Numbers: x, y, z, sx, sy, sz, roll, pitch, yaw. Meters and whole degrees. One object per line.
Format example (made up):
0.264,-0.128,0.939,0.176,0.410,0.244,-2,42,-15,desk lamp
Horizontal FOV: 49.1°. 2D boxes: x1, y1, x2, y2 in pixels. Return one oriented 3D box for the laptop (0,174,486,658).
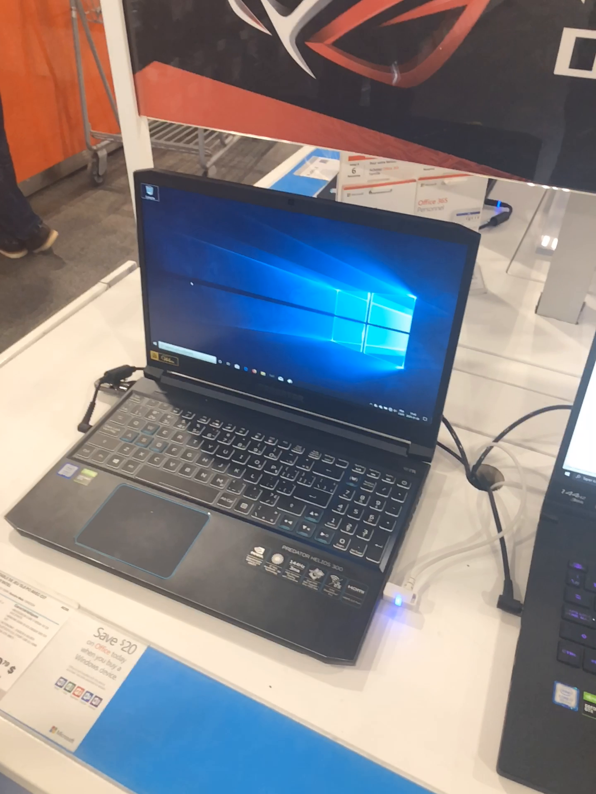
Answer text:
-0.059,-0.011,0.584,0.348,0.230,0.274,16,44,19,laptop
